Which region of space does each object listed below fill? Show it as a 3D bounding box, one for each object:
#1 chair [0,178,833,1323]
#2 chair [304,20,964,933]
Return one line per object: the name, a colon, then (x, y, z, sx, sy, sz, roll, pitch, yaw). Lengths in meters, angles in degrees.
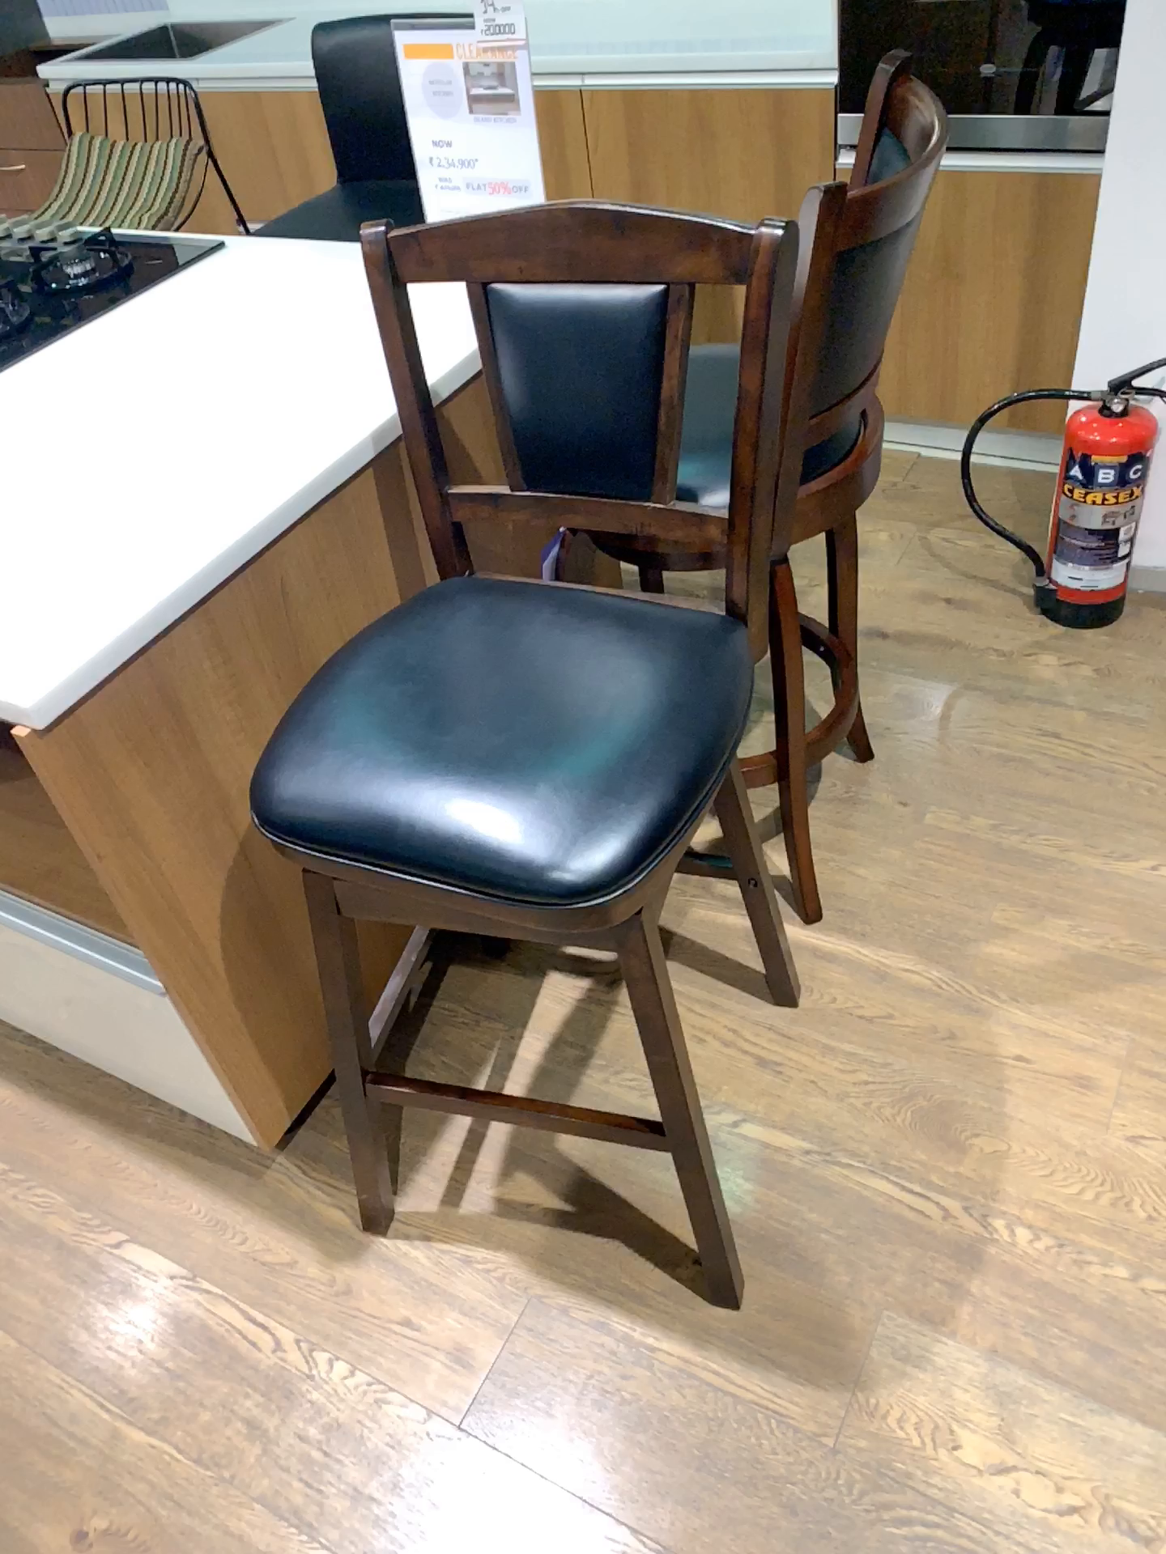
chair: (-0.069, 0.016, 1.266, 0.581, 1.026, 0.572, 5, 44, 16)
chair: (0.139, -0.387, 1.663, 0.571, 1.026, 0.551, 12, 46, 23)
